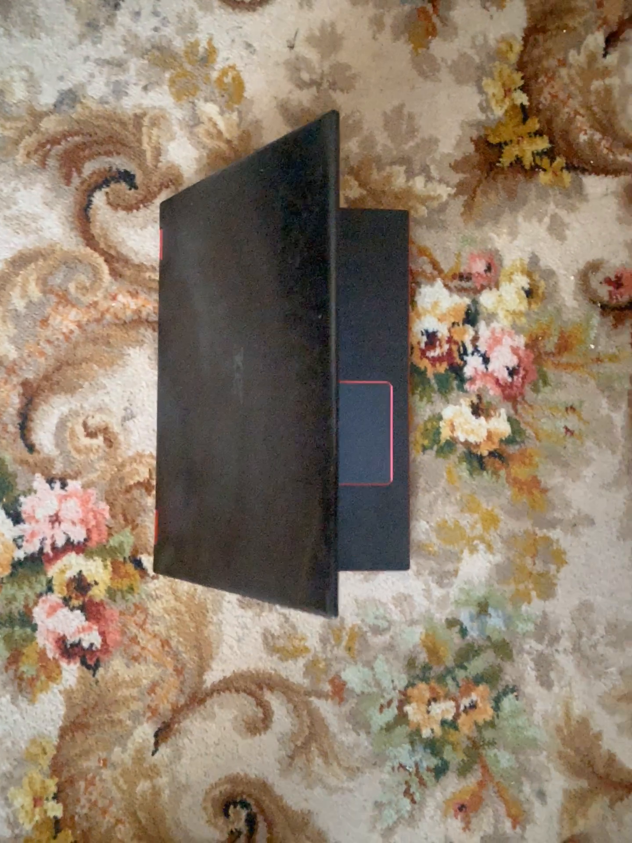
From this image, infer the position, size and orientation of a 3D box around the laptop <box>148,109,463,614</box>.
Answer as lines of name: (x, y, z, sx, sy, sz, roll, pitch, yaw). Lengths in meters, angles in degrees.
laptop: (-0.010, -0.040, 0.547, 0.224, 0.173, 0.356, 0, 87, -6)
